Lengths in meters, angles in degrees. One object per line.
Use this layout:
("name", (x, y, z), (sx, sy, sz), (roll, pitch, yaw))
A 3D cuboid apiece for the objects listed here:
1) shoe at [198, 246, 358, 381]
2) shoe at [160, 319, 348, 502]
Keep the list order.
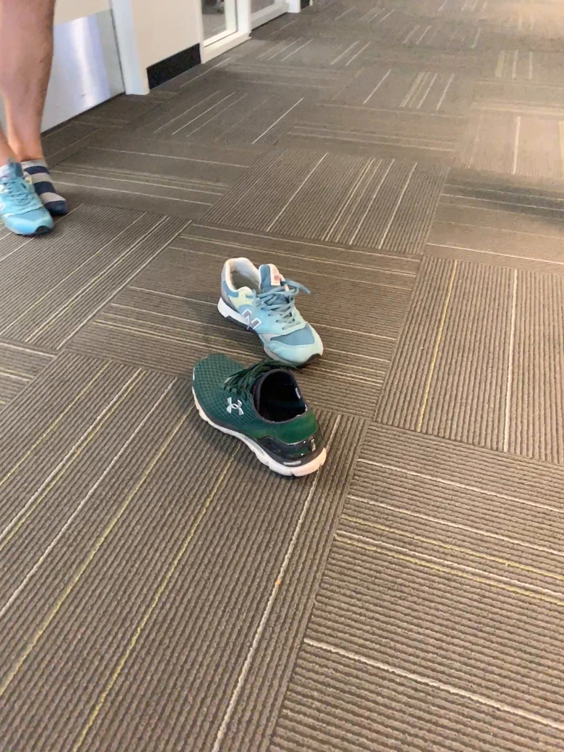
("shoe", (-0.015, -0.131, 1.103), (0.170, 0.089, 0.281), (-24, 45, -25))
("shoe", (-0.056, 0.040, 0.947), (0.140, 0.089, 0.322), (-26, 47, -27))
